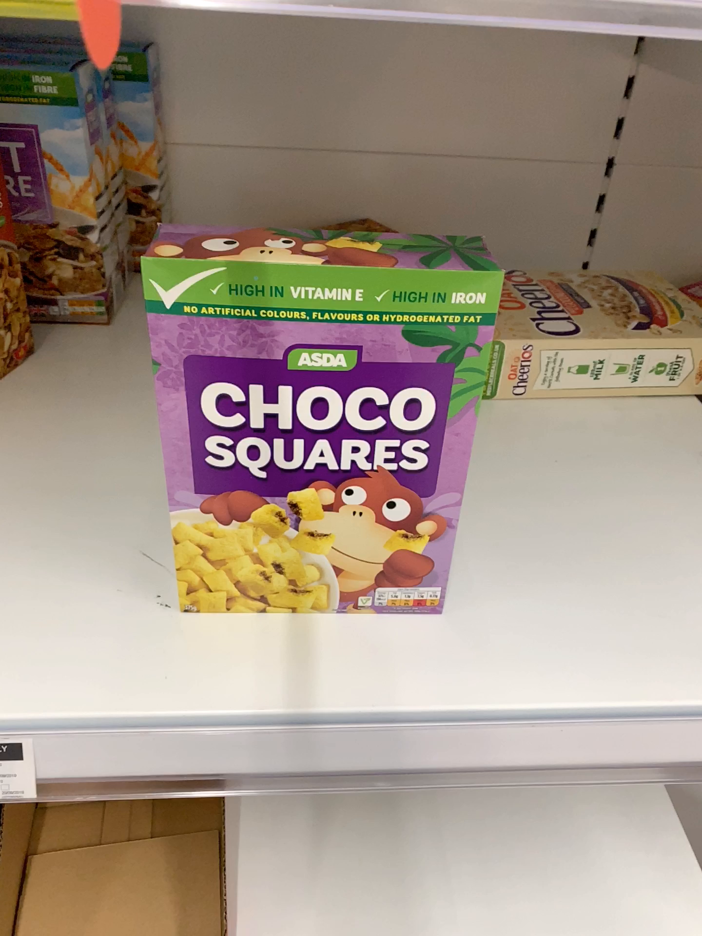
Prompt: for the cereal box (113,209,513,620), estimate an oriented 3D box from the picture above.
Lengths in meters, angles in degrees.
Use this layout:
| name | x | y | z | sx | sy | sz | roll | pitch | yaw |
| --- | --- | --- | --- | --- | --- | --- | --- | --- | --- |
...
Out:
| name | x | y | z | sx | sy | sz | roll | pitch | yaw |
| --- | --- | --- | --- | --- | --- | --- | --- | --- | --- |
| cereal box | -0.024 | -0.018 | 0.439 | 0.190 | 0.248 | 0.061 | 2 | 36 | -3 |
